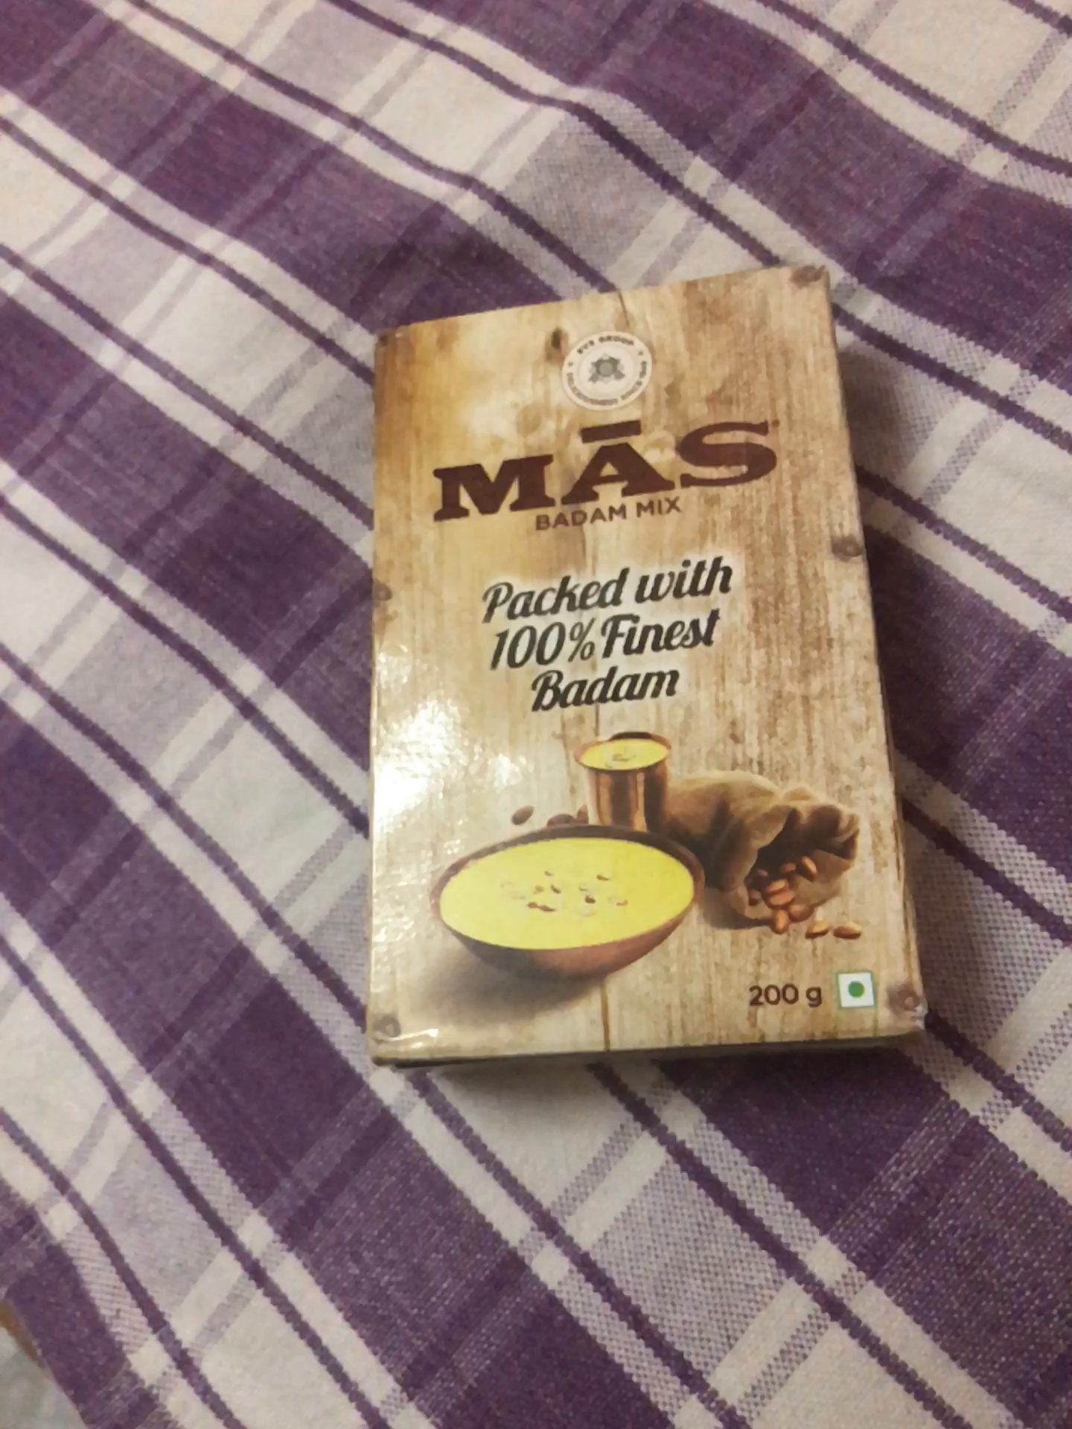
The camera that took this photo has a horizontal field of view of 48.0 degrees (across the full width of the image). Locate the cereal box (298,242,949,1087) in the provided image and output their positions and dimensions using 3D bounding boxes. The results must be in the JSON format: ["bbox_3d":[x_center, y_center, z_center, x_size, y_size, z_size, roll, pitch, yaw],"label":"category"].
[{"bbox_3d":[0.012,-0.007,0.199,0.090,0.030,0.130,-4,72,11],"label":"cereal box"}]
